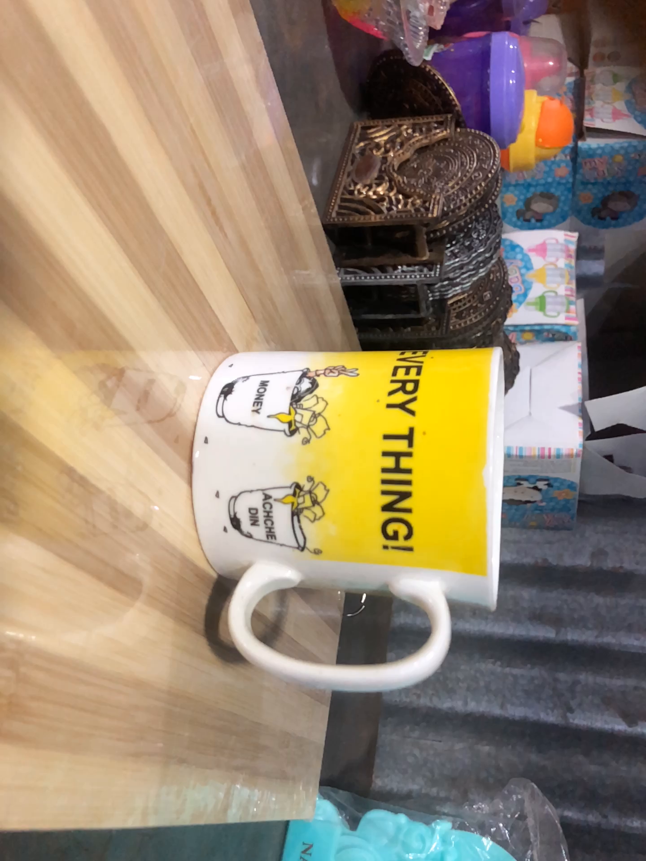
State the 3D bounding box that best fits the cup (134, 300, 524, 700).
[{"bbox_3d":[0.011,0.023,0.236,0.070,0.100,0.110,59,36,-66],"label":"cup"}]
